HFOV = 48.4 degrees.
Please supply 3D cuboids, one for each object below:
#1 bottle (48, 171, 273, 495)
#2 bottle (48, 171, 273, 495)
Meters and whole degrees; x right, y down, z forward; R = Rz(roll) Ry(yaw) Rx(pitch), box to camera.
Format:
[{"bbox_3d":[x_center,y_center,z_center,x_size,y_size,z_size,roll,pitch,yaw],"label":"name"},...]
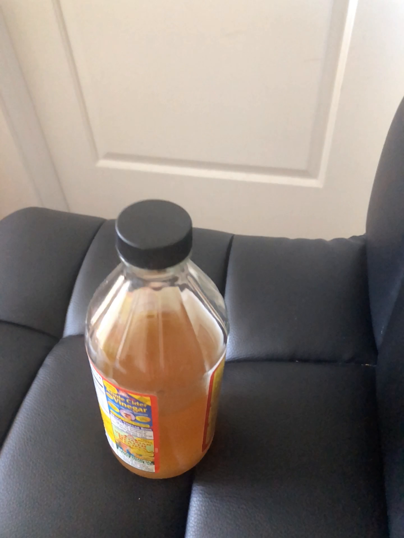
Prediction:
[{"bbox_3d":[-0.025,0.047,0.240,0.070,0.179,0.070,2,48,-3],"label":"bottle"},{"bbox_3d":[-0.025,0.047,0.240,0.070,0.179,0.070,2,48,-3],"label":"bottle"}]
